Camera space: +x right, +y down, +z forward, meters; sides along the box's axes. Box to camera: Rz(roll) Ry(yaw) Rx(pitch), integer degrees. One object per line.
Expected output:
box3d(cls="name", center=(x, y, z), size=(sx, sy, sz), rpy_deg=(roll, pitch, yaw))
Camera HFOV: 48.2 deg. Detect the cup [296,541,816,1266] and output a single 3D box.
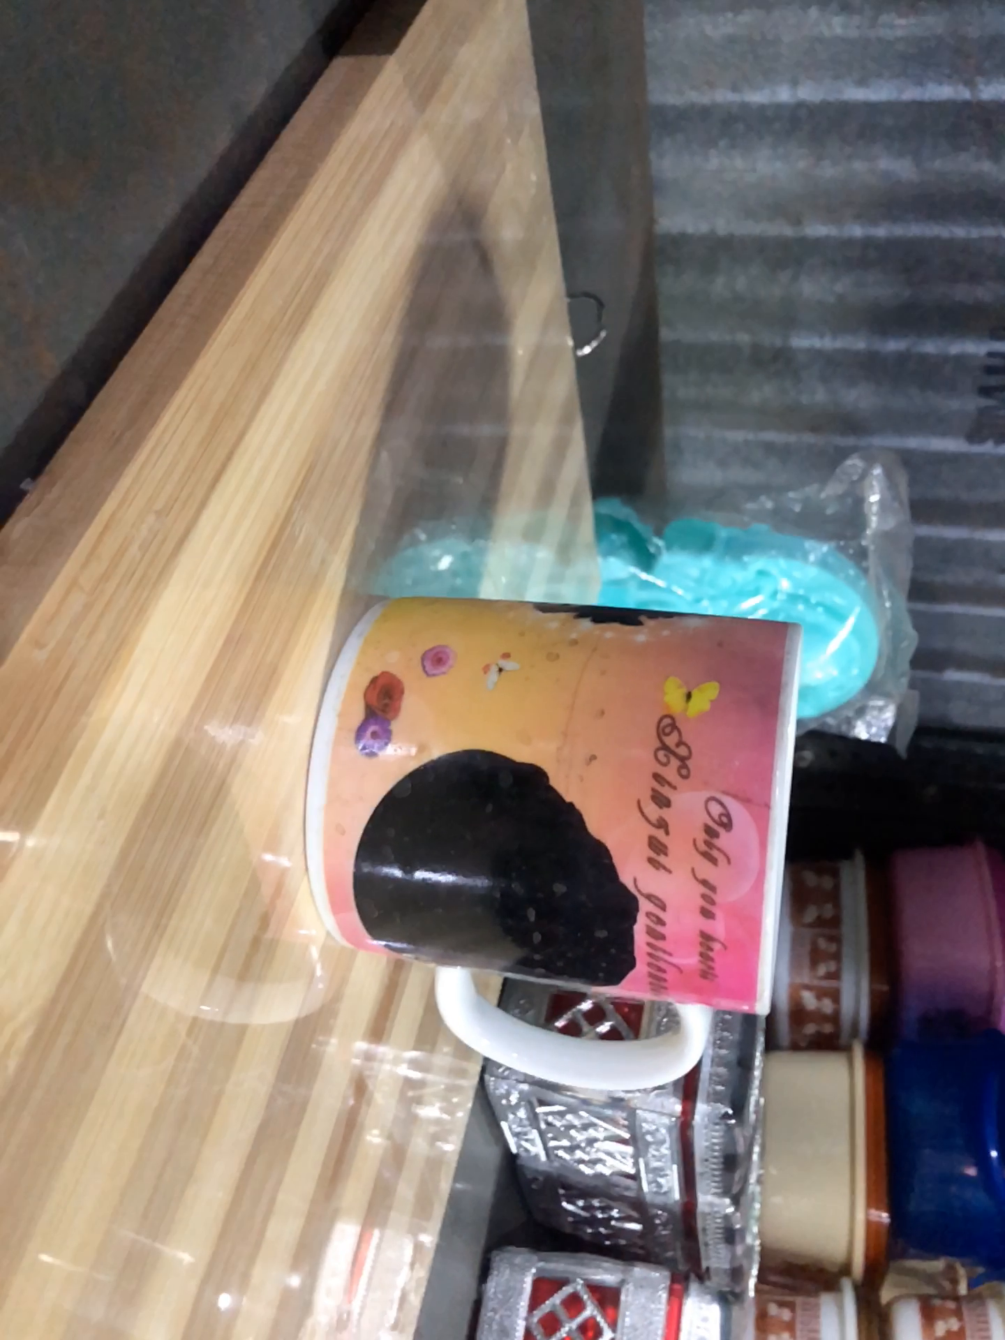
box3d(cls="cup", center=(0.018, 0.042, 0.252), size=(0.090, 0.090, 0.120), rpy_deg=(-51, 143, -66))
